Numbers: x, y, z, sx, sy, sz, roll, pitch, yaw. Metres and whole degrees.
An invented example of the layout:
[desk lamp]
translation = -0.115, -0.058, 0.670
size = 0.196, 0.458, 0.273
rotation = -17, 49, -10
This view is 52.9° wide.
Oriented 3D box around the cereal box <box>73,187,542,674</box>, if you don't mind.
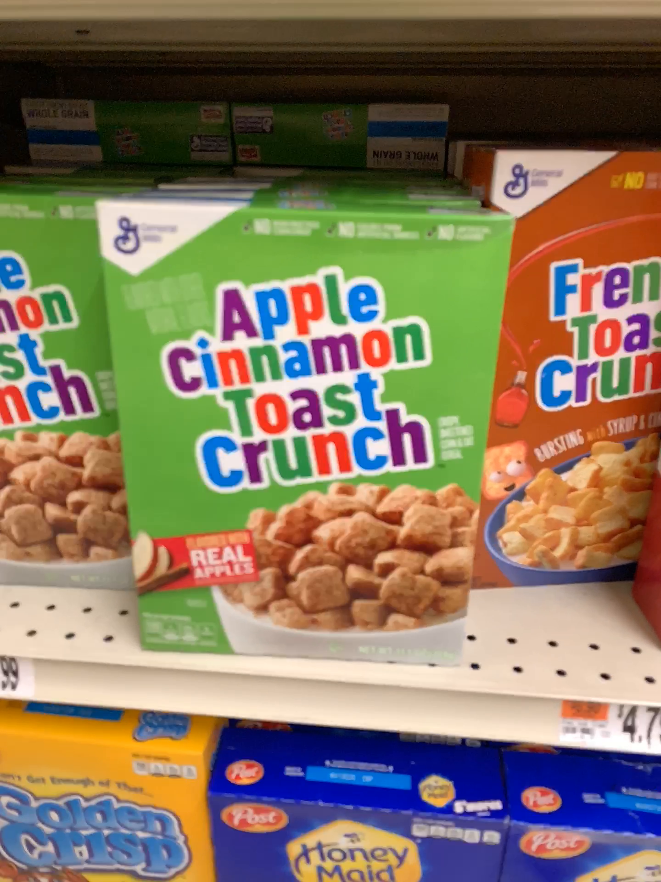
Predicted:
[cereal box]
translation = -0.014, 0.004, 0.382
size = 0.210, 0.269, 0.060
rotation = 3, 25, 1
